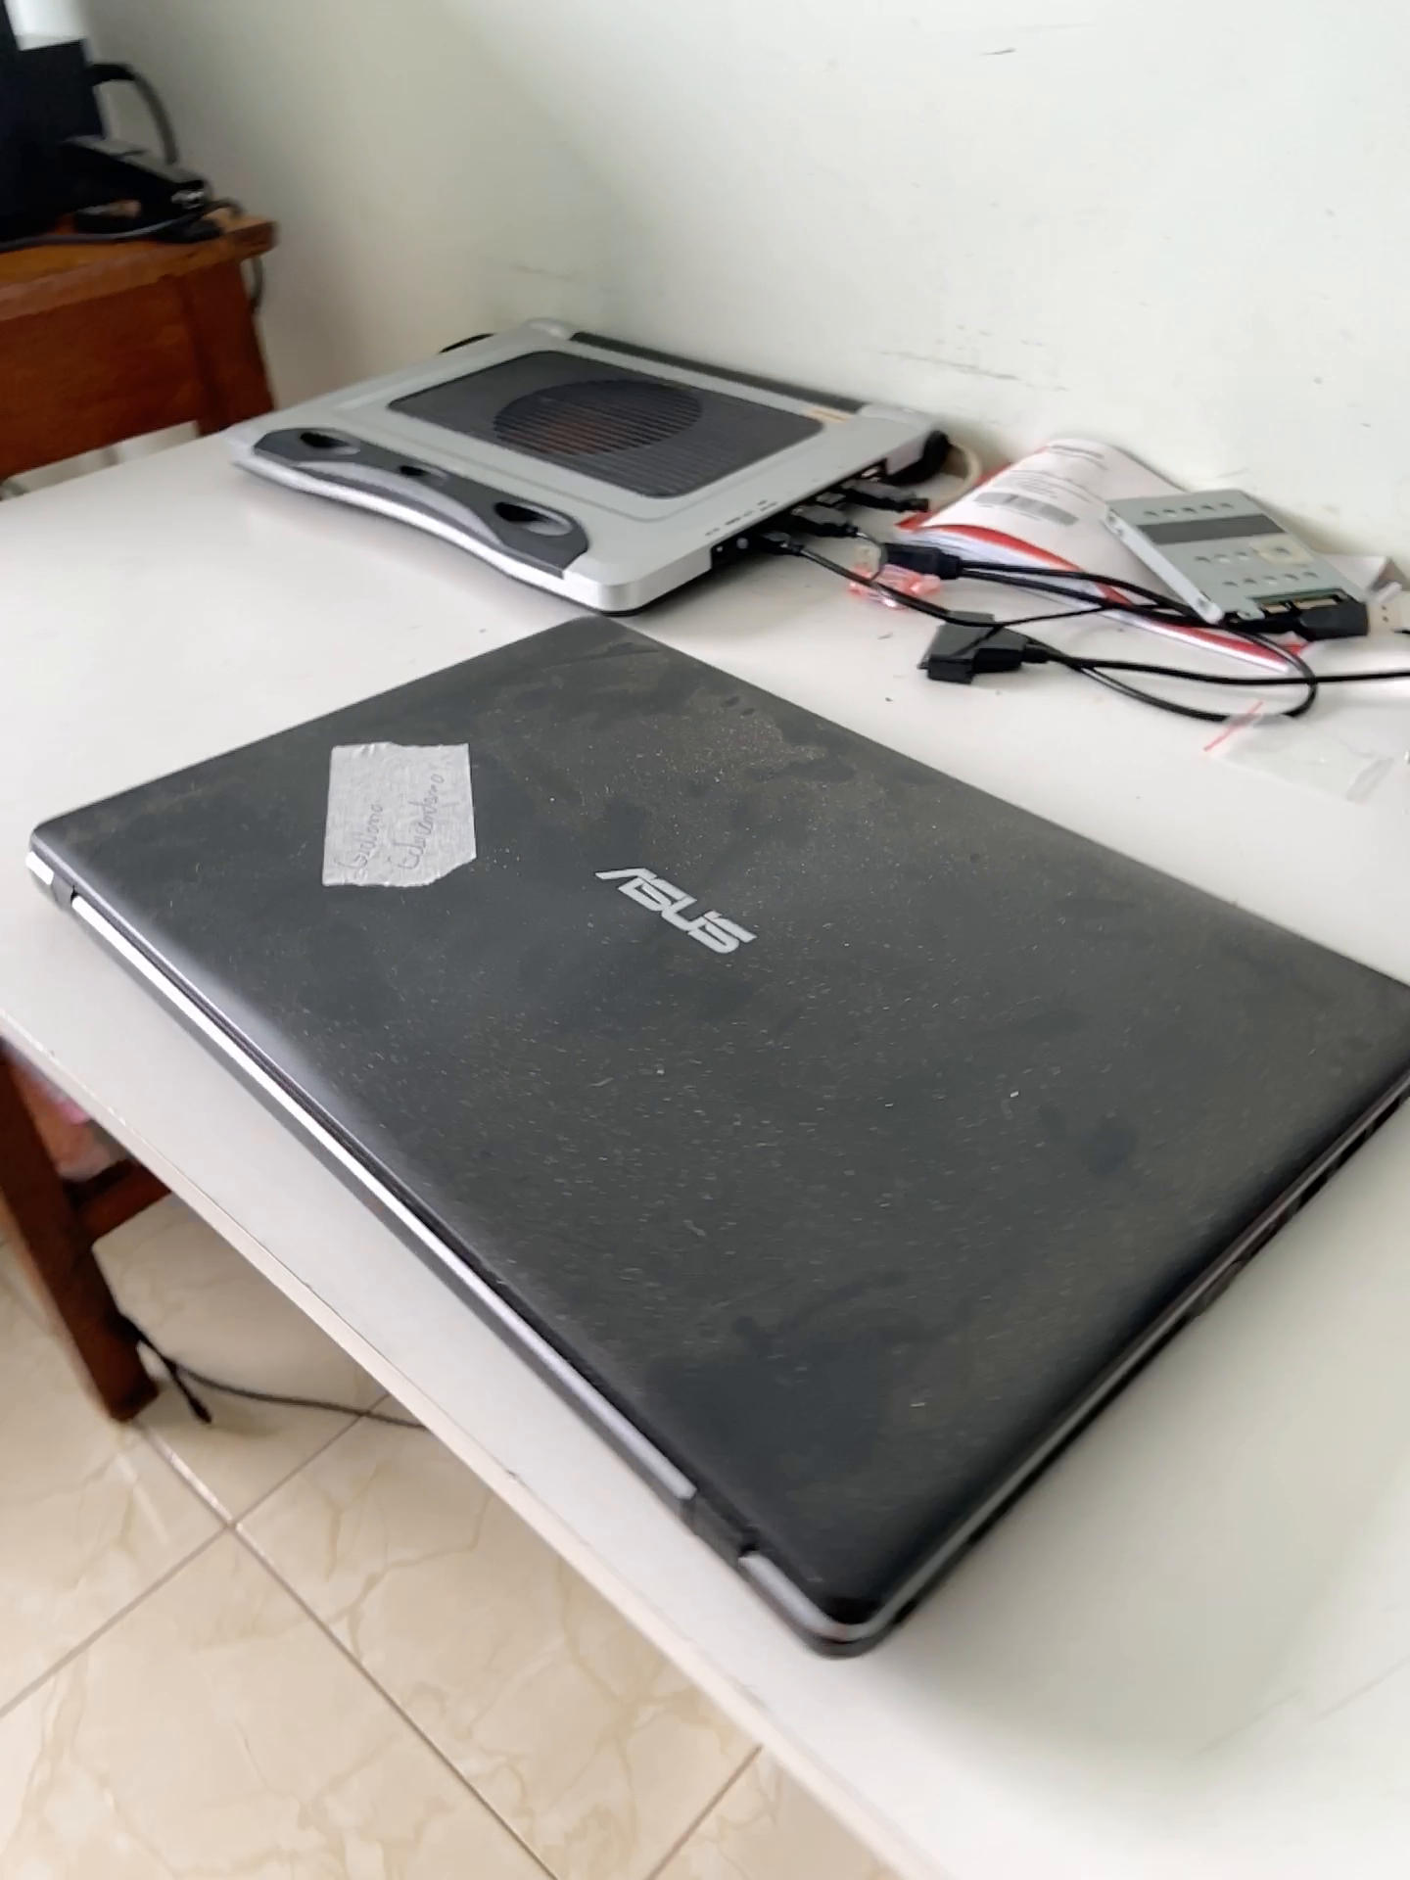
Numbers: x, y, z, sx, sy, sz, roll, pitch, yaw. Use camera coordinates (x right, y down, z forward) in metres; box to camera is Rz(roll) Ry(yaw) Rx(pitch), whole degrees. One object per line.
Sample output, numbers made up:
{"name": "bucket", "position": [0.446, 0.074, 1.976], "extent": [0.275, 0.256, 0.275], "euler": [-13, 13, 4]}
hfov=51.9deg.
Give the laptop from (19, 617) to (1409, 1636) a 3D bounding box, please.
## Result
{"name": "laptop", "position": [-0.013, -0.004, 0.454], "extent": [0.251, 0.007, 0.386], "euler": [-30, 45, -32]}
